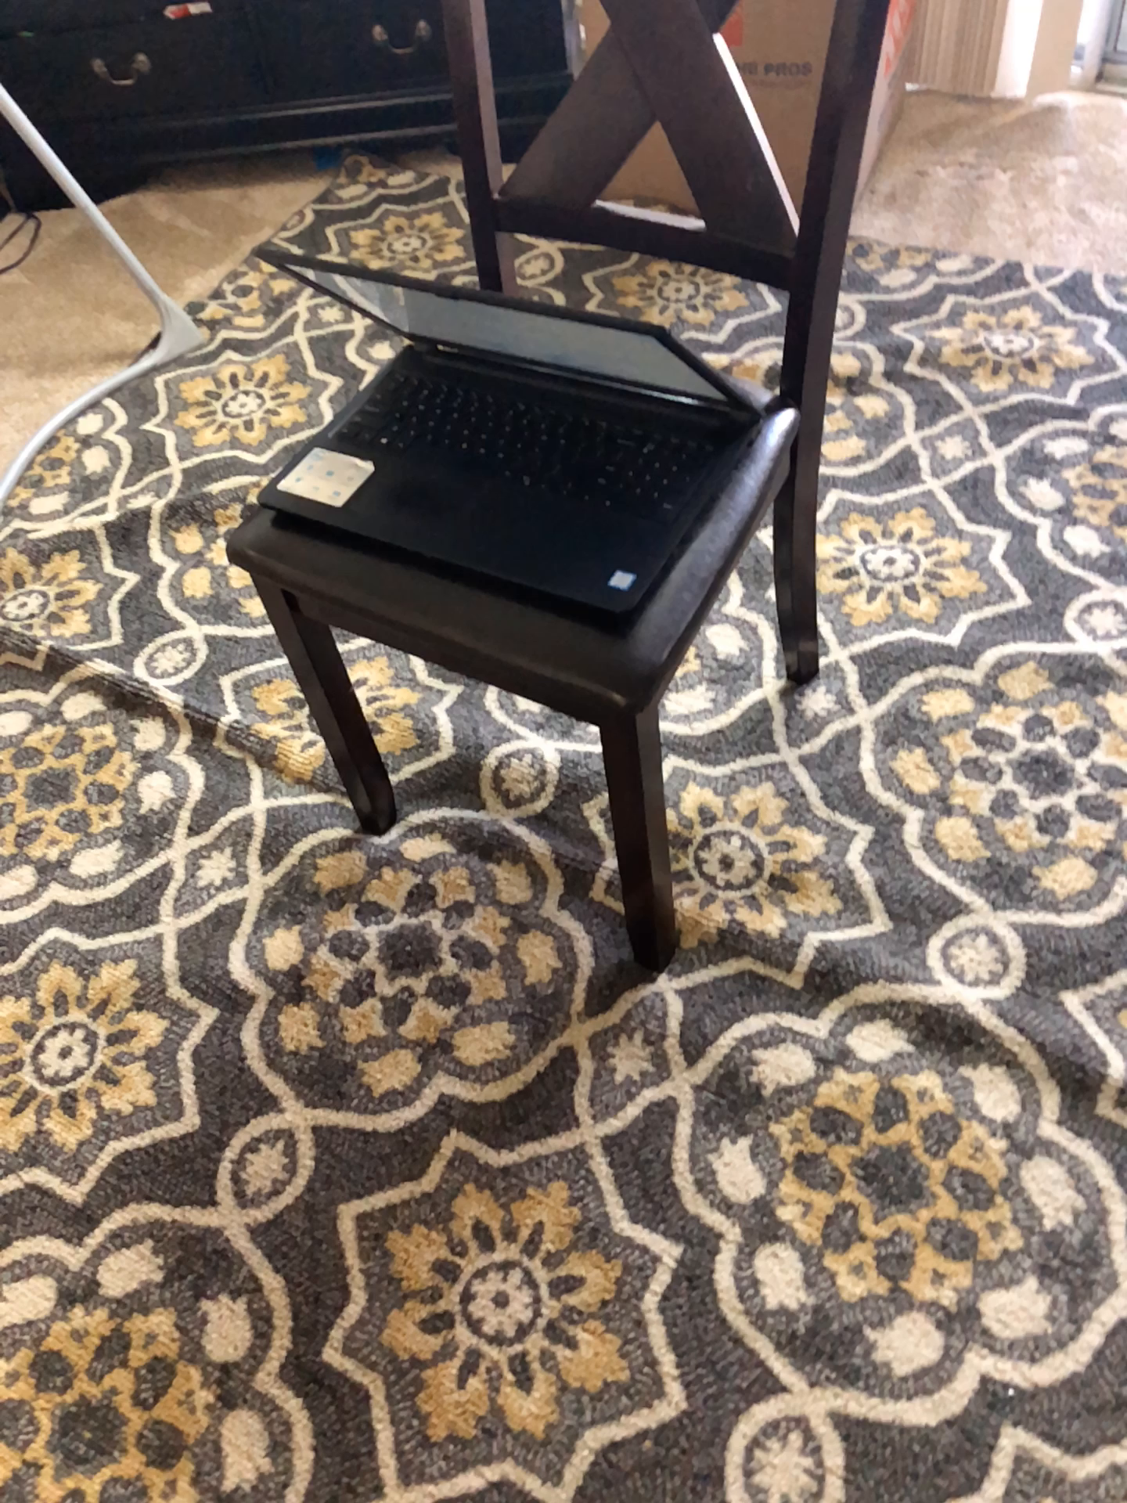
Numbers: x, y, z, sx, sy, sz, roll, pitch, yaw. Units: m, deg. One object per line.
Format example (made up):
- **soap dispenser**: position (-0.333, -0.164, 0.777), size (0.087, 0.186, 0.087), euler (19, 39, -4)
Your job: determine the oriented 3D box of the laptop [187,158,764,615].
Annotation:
- **laptop**: position (-0.058, -0.307, 1.003), size (0.367, 0.185, 0.245), euler (19, 56, 21)
